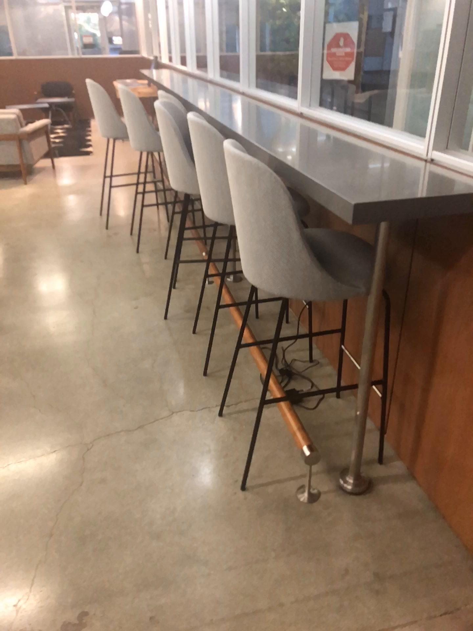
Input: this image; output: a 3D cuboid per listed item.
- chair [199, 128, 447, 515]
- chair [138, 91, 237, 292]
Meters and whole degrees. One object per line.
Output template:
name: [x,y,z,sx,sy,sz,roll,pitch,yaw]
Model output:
chair: [0.227,0.024,1.797,0.591,1.180,0.493,-6,28,-10]
chair: [-0.408,-1.067,4.445,0.621,1.488,0.715,-9,28,-15]
